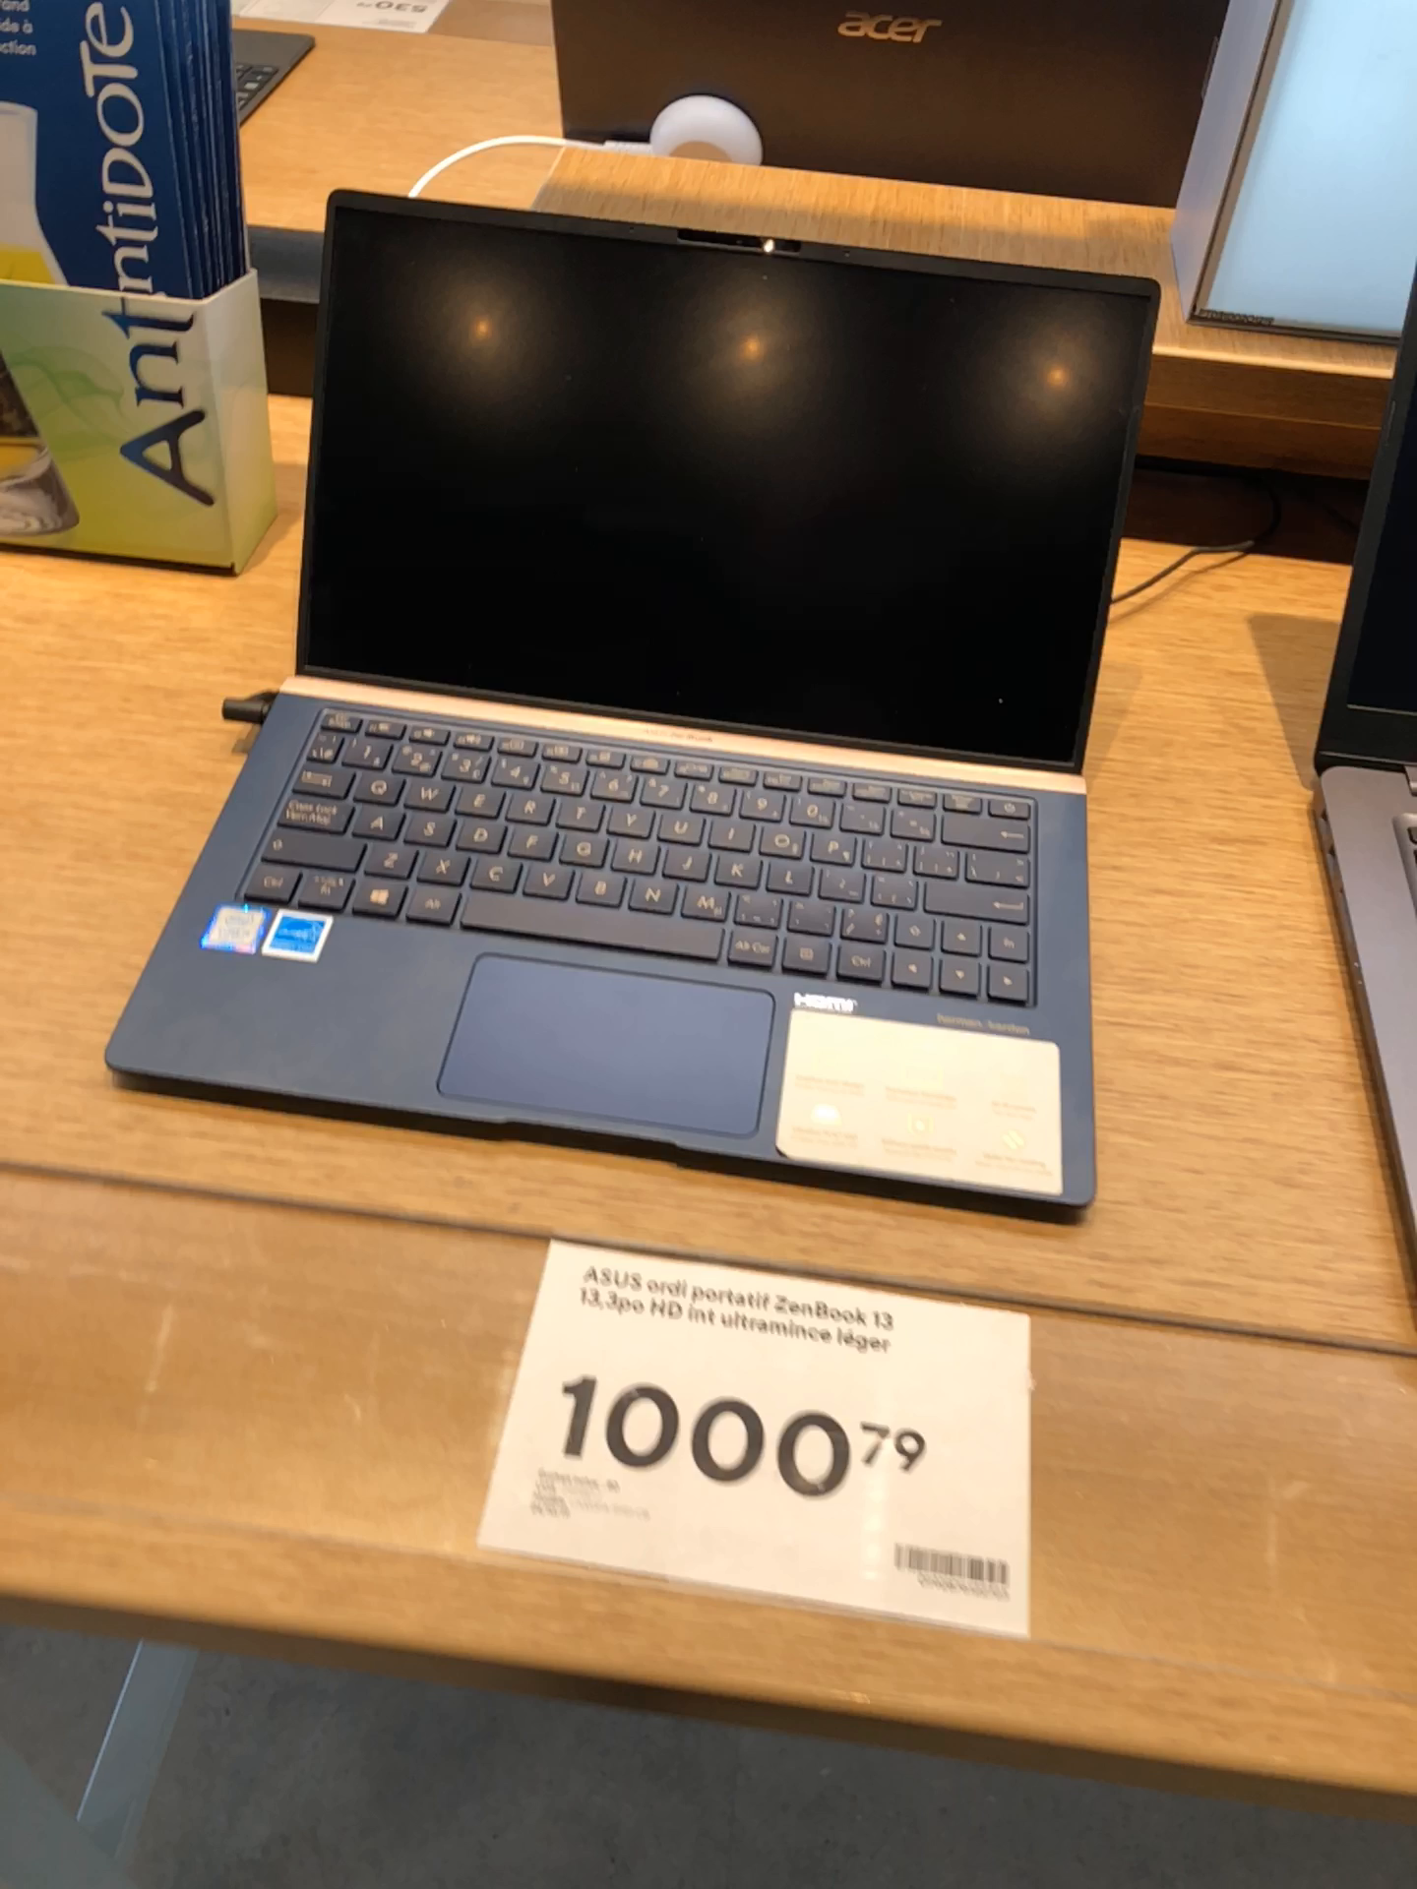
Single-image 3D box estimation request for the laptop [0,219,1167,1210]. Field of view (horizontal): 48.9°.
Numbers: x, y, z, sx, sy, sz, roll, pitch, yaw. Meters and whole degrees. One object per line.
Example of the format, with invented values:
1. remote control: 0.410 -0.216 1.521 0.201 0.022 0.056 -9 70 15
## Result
1. laptop: -0.012 -0.089 0.495 0.276 0.130 0.277 8 50 5
